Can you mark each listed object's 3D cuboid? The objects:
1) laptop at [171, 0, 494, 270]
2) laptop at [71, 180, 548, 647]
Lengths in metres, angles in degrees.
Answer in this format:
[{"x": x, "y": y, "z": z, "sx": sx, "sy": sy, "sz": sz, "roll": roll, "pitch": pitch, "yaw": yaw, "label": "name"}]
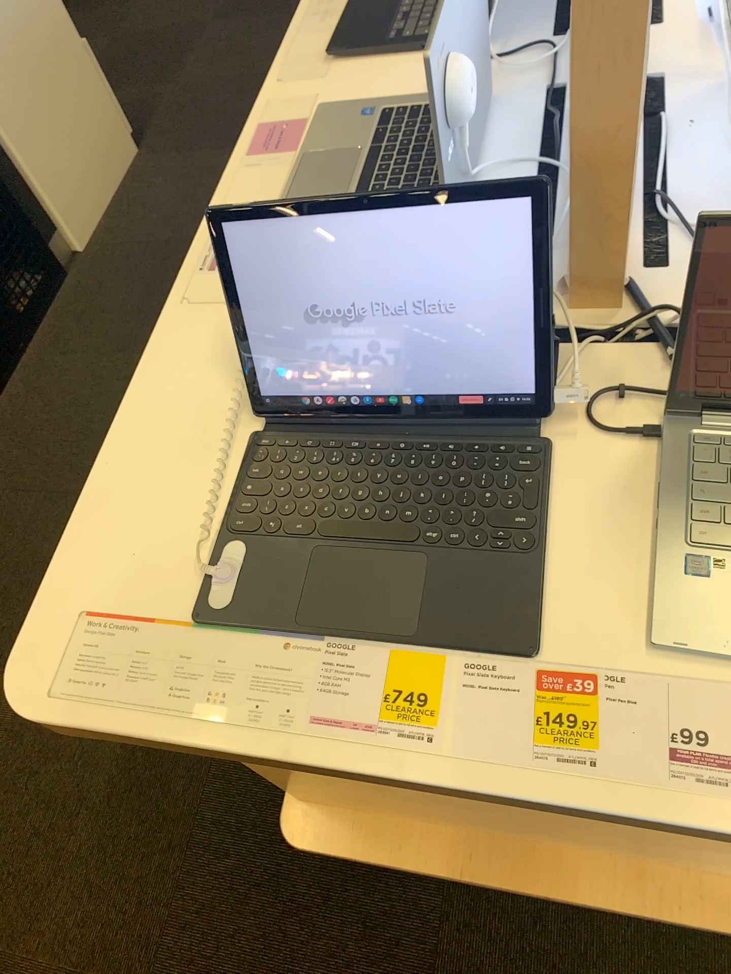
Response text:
[{"x": -0.007, "y": -0.440, "z": 0.815, "sx": 0.233, "sy": 0.222, "sz": 0.320, "roll": 3, "pitch": 59, "yaw": 16, "label": "laptop"}, {"x": -0.009, "y": -0.059, "z": 0.601, "sx": 0.285, "sy": 0.188, "sz": 0.294, "roll": 2, "pitch": 58, "yaw": 16, "label": "laptop"}]
